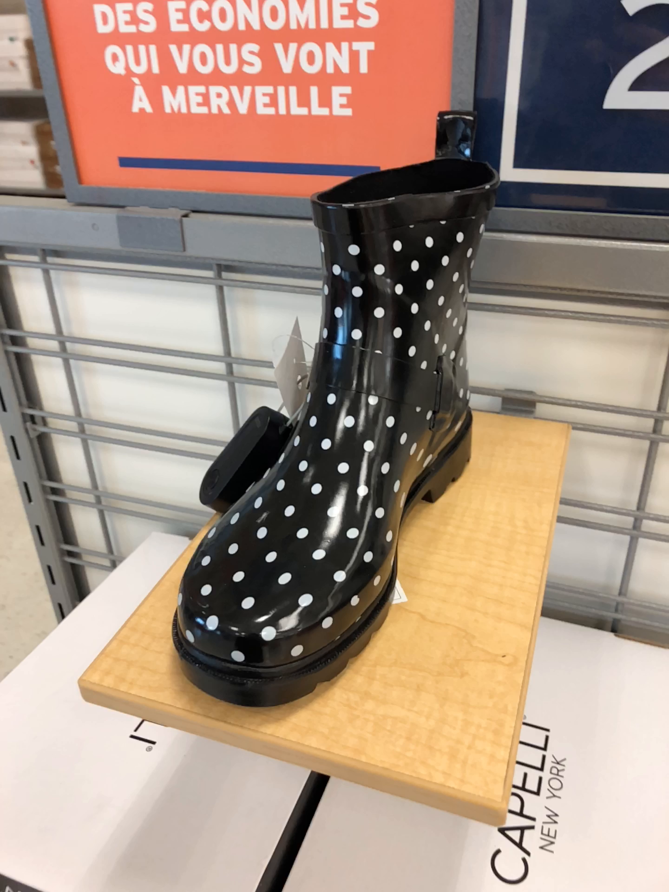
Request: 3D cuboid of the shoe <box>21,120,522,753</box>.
[{"bbox_3d":[0.006,-0.035,0.356,0.095,0.188,0.262,11,33,22],"label":"shoe"}]
